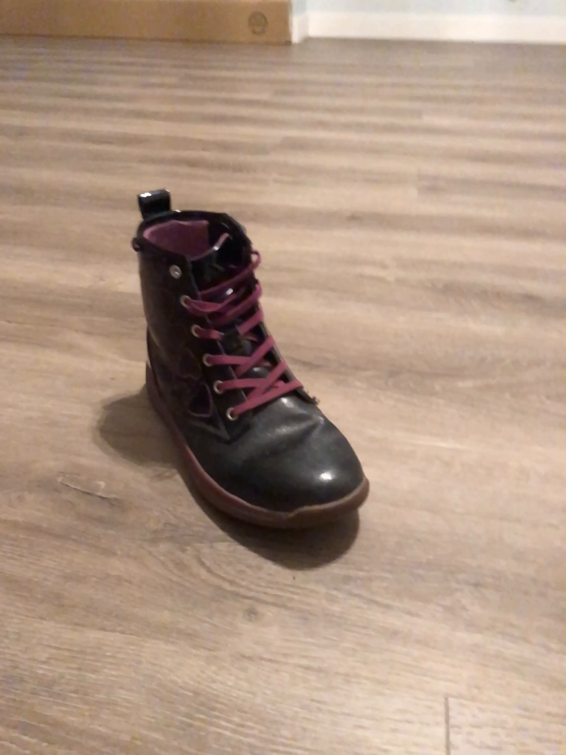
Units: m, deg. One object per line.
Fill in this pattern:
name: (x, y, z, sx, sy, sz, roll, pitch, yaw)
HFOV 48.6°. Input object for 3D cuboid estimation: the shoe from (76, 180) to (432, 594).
shoe: (-0.034, -0.015, 0.398, 0.100, 0.149, 0.231, -19, 38, -27)
